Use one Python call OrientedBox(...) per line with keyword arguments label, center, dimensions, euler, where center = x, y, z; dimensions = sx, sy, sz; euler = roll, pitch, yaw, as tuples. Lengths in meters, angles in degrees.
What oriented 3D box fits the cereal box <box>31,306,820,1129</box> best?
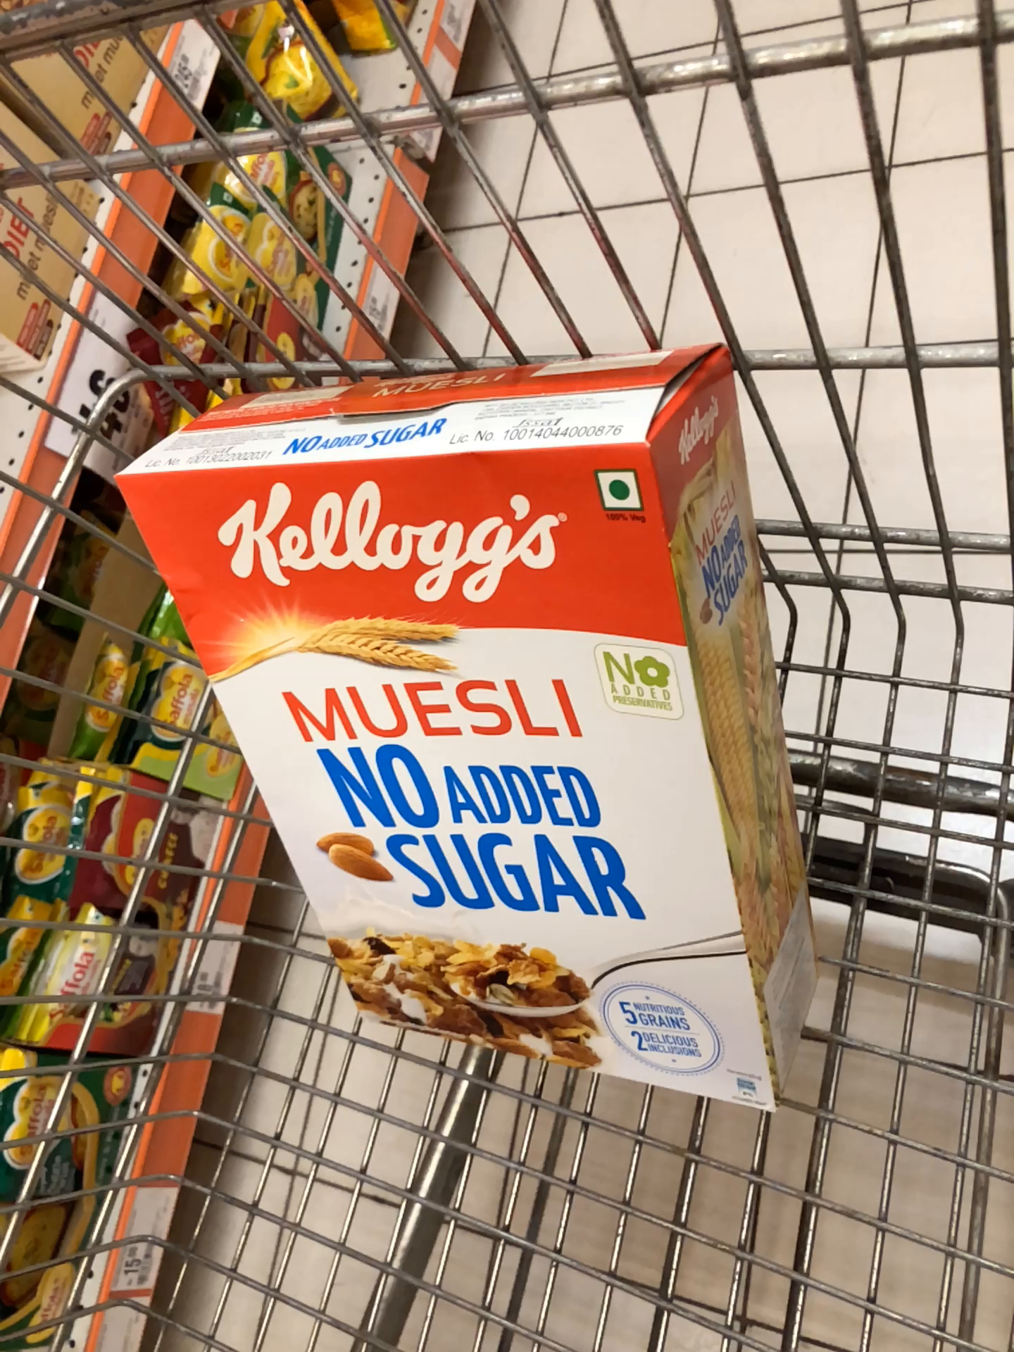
OrientedBox(label="cereal box", center=(-0.010, 0.025, 0.381), dimensions=(0.190, 0.259, 0.070), euler=(3, 38, 28))
